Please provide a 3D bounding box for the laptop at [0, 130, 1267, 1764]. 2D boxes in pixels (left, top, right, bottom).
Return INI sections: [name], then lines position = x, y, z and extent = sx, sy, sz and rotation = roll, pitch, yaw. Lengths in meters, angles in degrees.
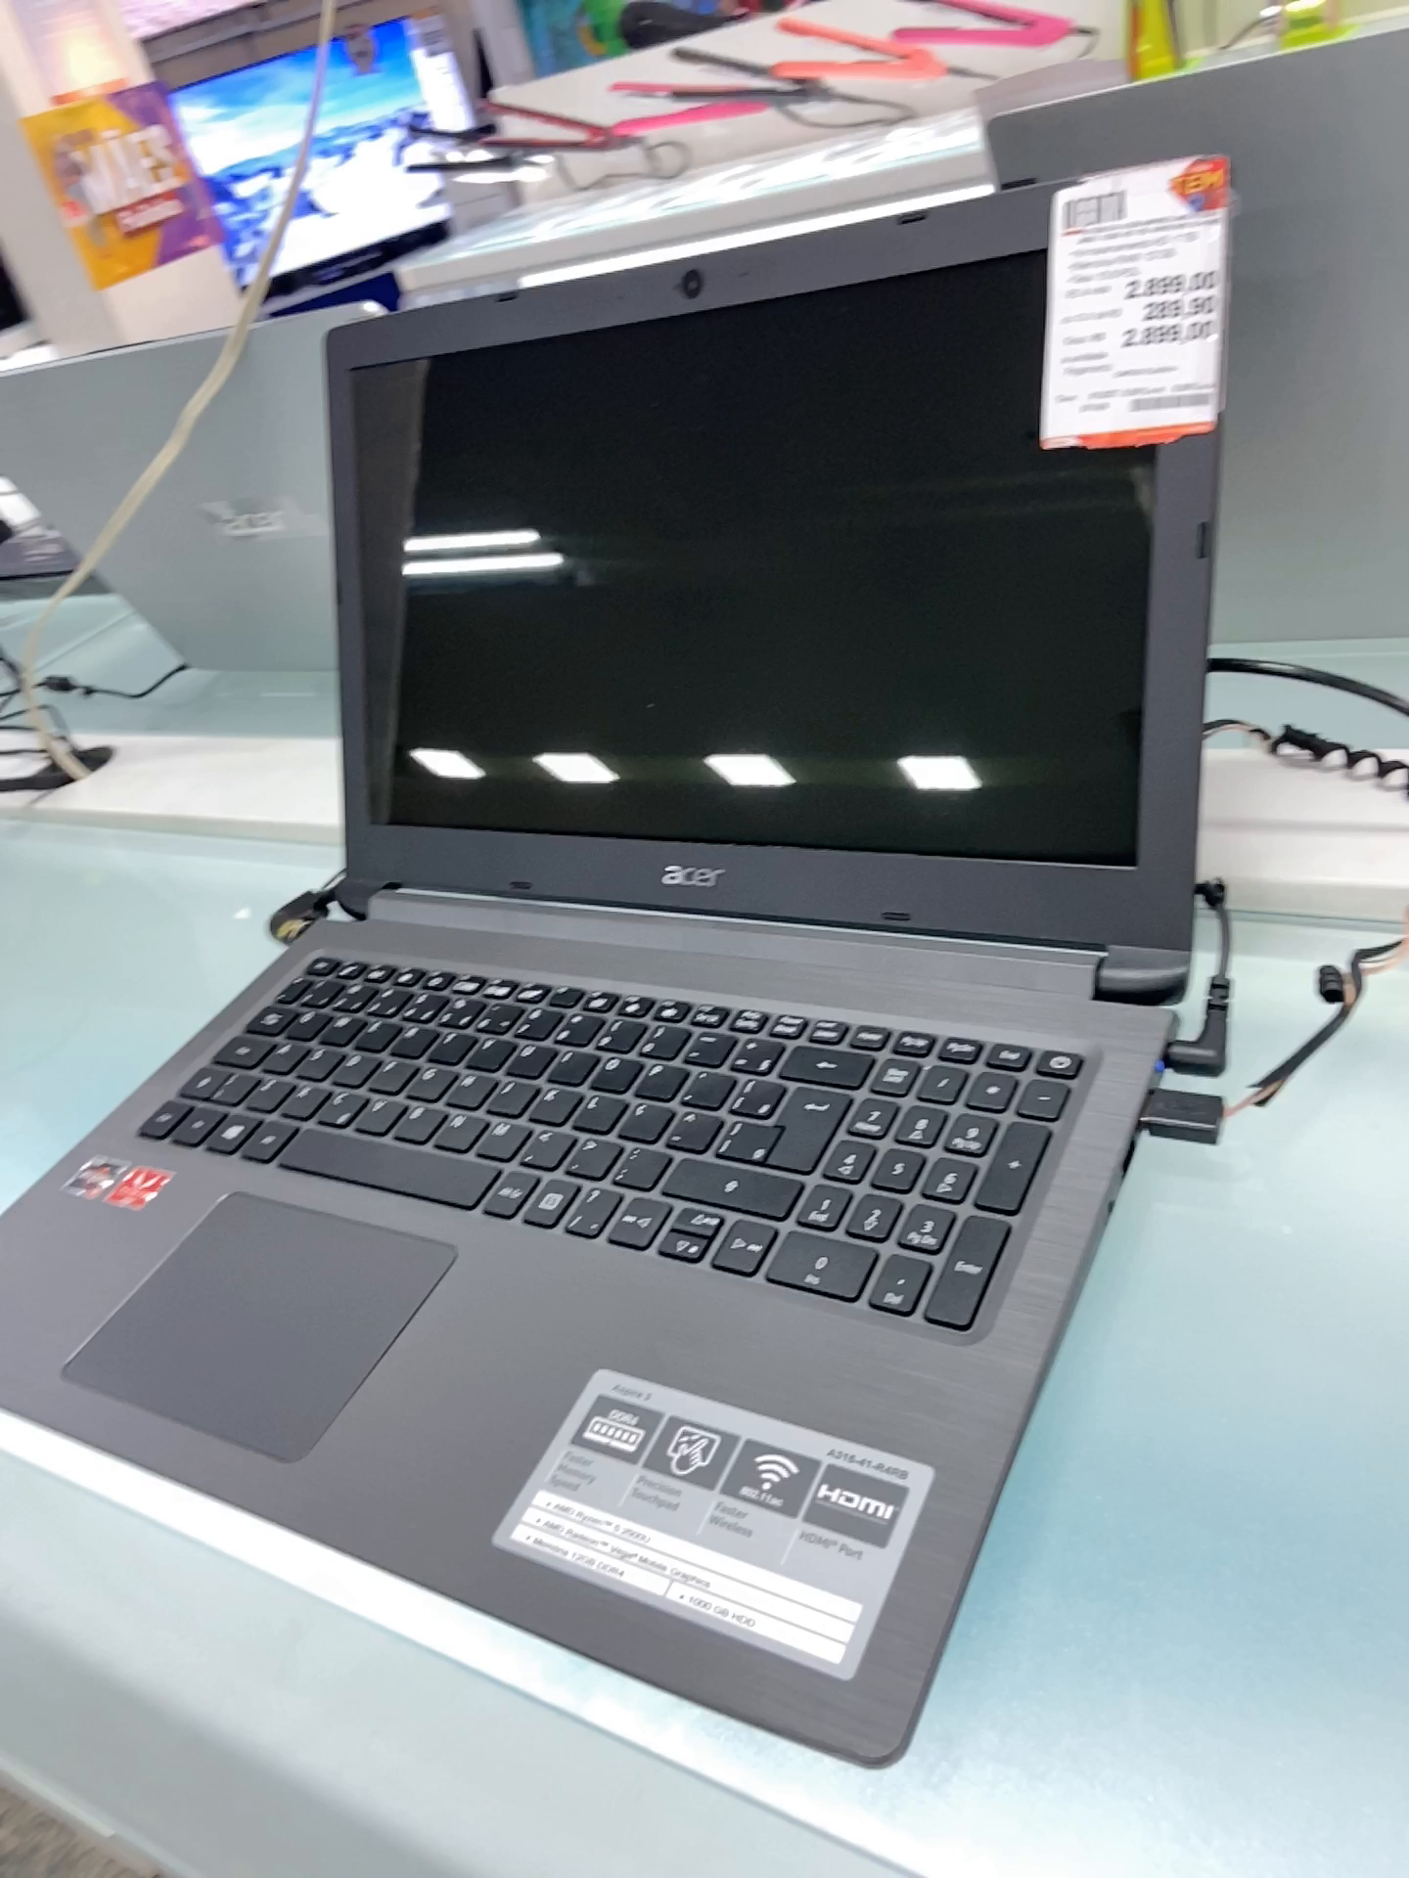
[laptop]
position = -0.057, -0.048, 0.421
extent = 0.341, 0.194, 0.354
rotation = 5, 40, 32
